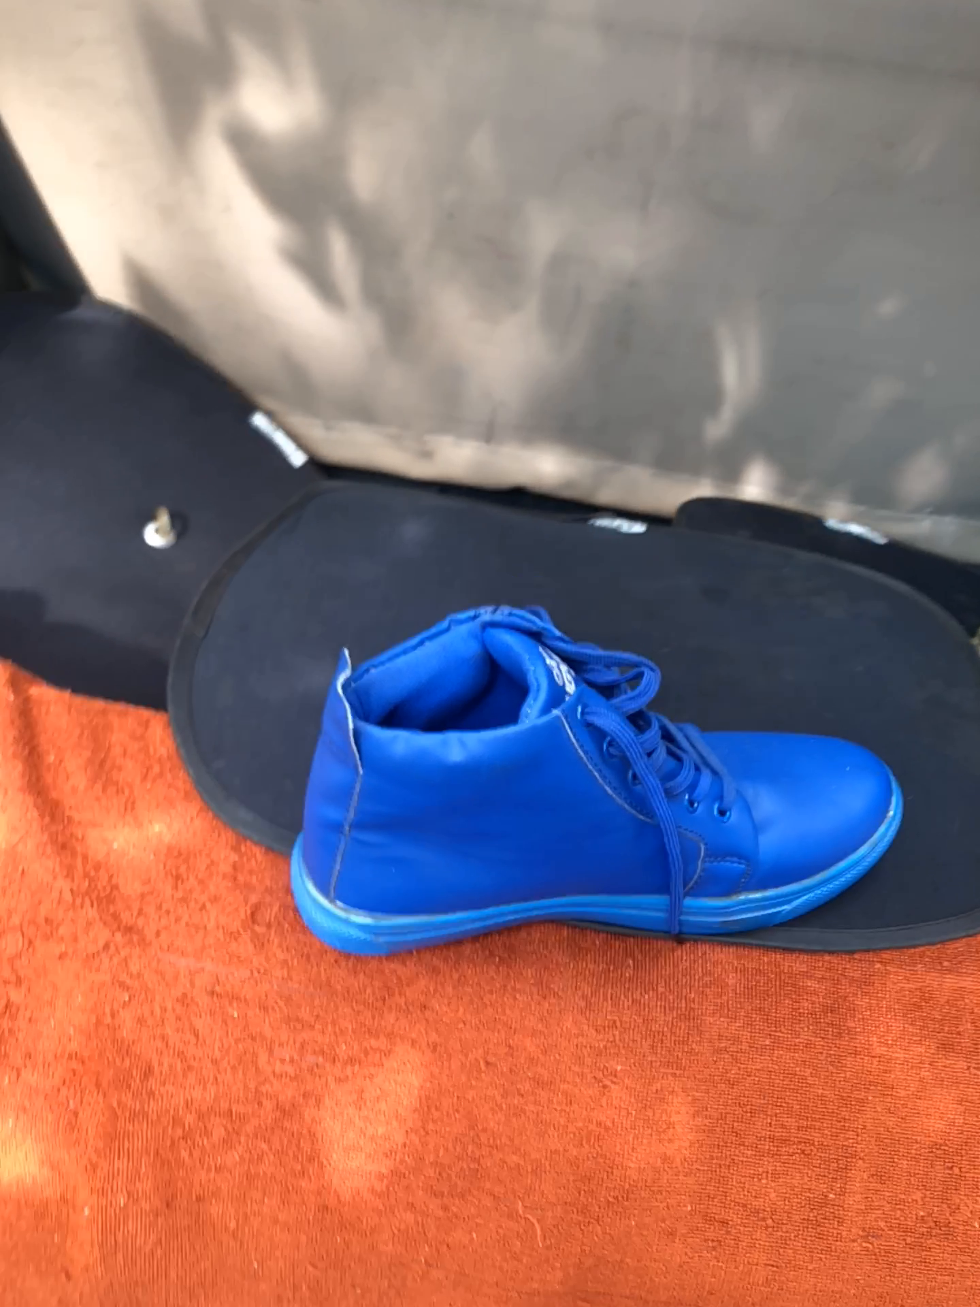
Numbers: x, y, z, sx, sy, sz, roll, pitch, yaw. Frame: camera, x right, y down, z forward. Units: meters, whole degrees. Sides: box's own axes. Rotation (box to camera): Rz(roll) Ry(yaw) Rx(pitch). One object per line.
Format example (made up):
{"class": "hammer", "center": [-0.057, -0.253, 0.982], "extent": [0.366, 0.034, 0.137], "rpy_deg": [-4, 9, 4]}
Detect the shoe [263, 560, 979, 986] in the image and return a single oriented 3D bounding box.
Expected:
{"class": "shoe", "center": [0.053, 0.049, 0.472], "extent": [0.290, 0.139, 0.100], "rpy_deg": [-2, 44, -10]}
